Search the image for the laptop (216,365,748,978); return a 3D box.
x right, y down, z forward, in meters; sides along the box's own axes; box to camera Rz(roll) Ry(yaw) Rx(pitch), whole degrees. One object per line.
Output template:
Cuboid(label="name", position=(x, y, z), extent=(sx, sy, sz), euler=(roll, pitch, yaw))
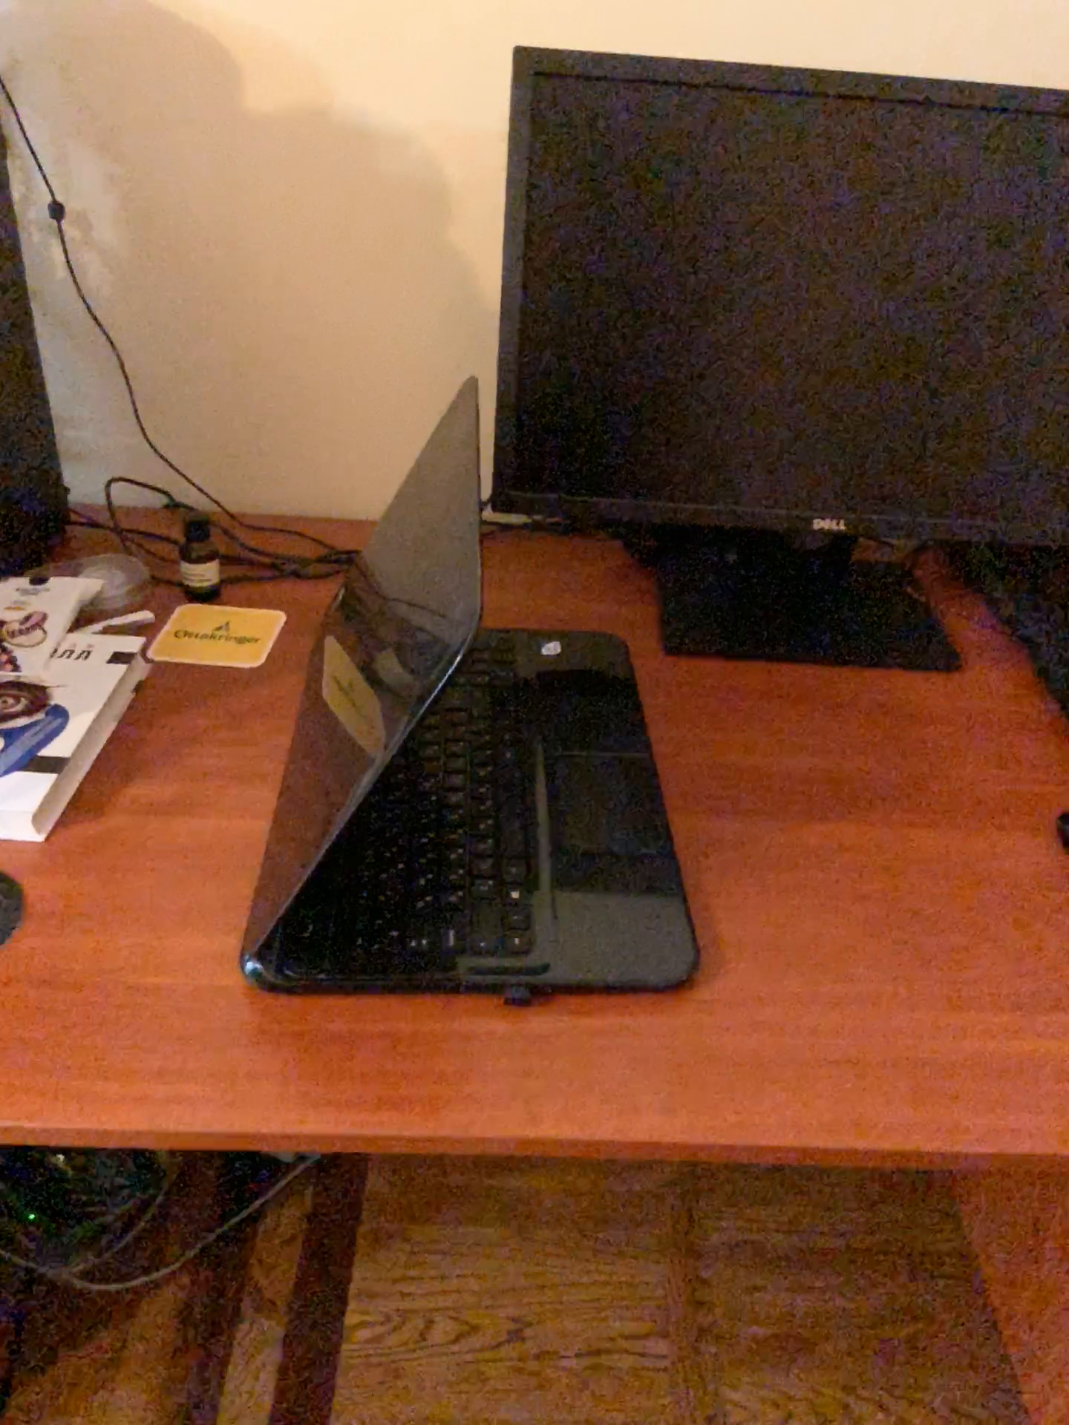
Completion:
Cuboid(label="laptop", position=(-0.036, -0.047, 0.653), extent=(0.222, 0.198, 0.351), euler=(2, 34, -5))
